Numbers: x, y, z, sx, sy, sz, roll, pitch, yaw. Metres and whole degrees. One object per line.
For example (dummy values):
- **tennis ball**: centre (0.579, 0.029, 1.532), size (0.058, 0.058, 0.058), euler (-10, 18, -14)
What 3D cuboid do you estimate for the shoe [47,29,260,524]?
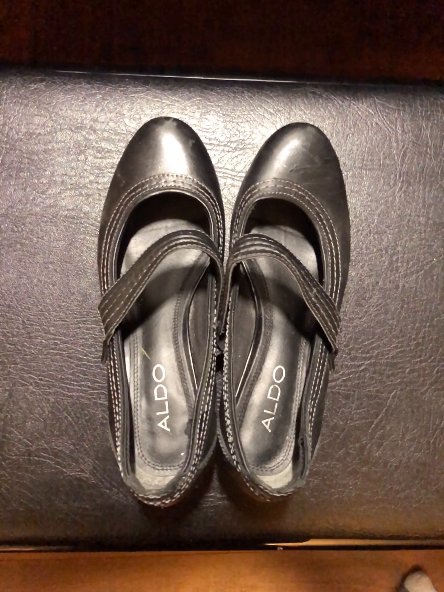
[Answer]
- **shoe**: centre (-0.036, -0.010, 0.294), size (0.100, 0.110, 0.240), euler (-1, 86, -3)

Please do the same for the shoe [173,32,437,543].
- **shoe**: centre (0.041, -0.004, 0.296), size (0.100, 0.110, 0.240), euler (9, 86, -2)
